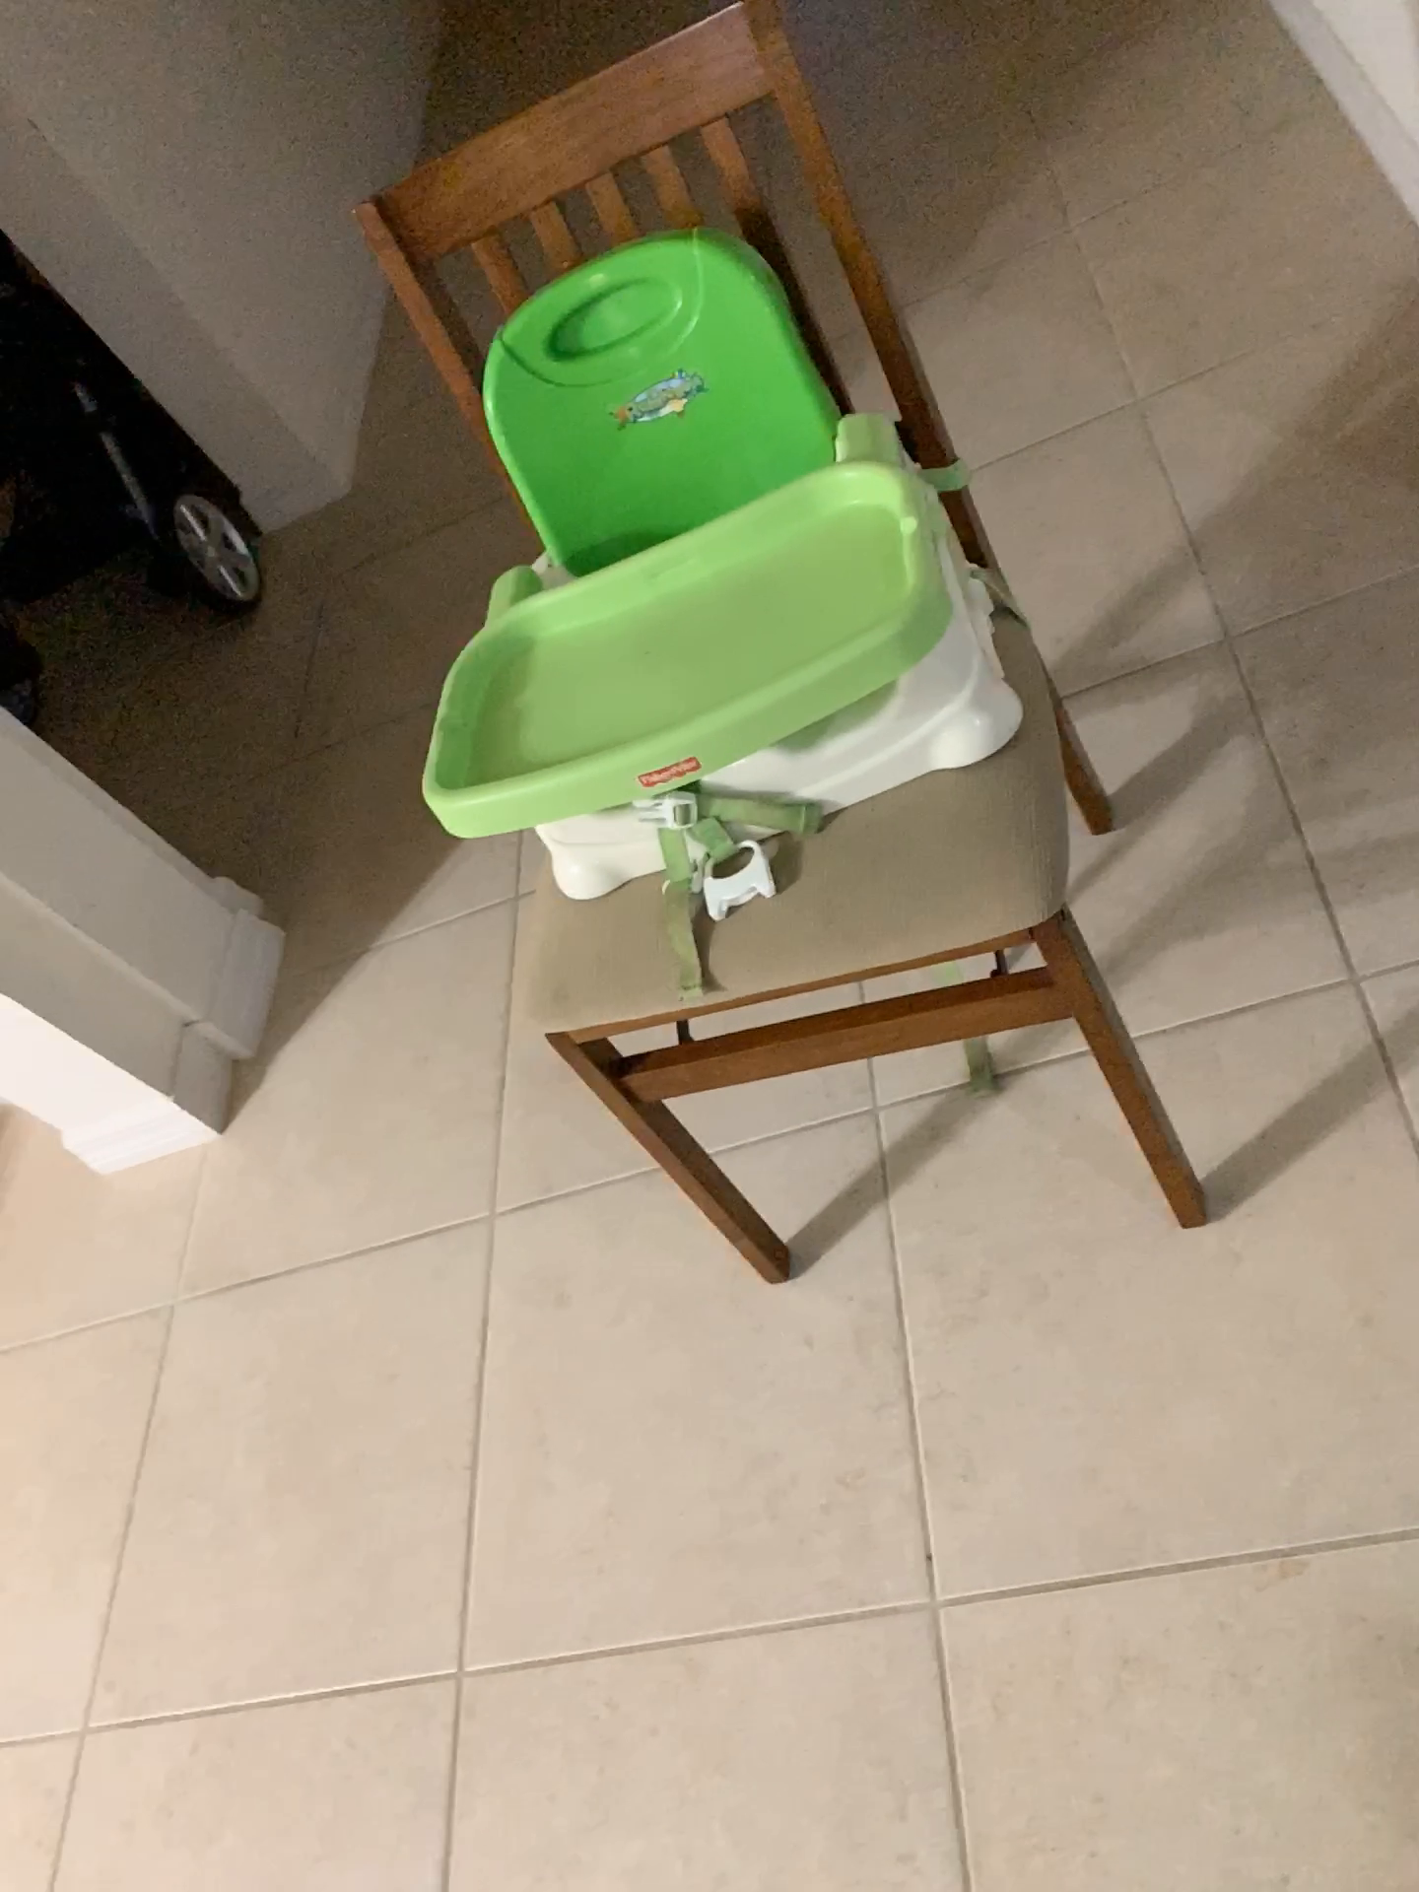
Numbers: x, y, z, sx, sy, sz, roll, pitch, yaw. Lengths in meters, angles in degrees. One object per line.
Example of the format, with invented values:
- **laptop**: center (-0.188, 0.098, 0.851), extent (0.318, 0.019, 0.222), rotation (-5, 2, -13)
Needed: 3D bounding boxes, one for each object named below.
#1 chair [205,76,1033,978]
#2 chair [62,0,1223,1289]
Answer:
- **chair**: center (-0.042, -0.272, 1.018), extent (0.404, 0.328, 0.387), rotation (-17, 49, 22)
- **chair**: center (0.058, -0.173, 1.195), extent (0.454, 0.883, 0.558), rotation (-14, 51, 24)
